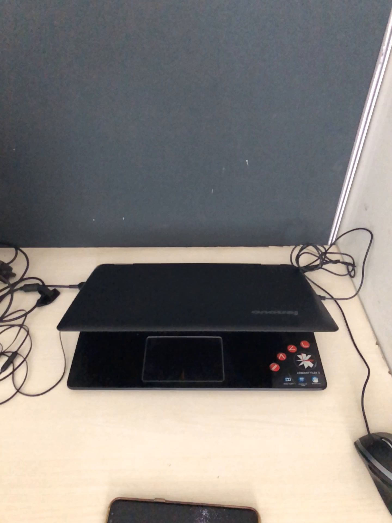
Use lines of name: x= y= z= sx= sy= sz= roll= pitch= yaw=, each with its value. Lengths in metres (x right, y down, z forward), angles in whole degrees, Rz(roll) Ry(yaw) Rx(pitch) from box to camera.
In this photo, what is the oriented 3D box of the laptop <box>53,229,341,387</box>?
laptop: x=0.001 y=0.054 z=0.600 sx=0.326 sy=0.082 sz=0.221 roll=0 pitch=40 yaw=0
